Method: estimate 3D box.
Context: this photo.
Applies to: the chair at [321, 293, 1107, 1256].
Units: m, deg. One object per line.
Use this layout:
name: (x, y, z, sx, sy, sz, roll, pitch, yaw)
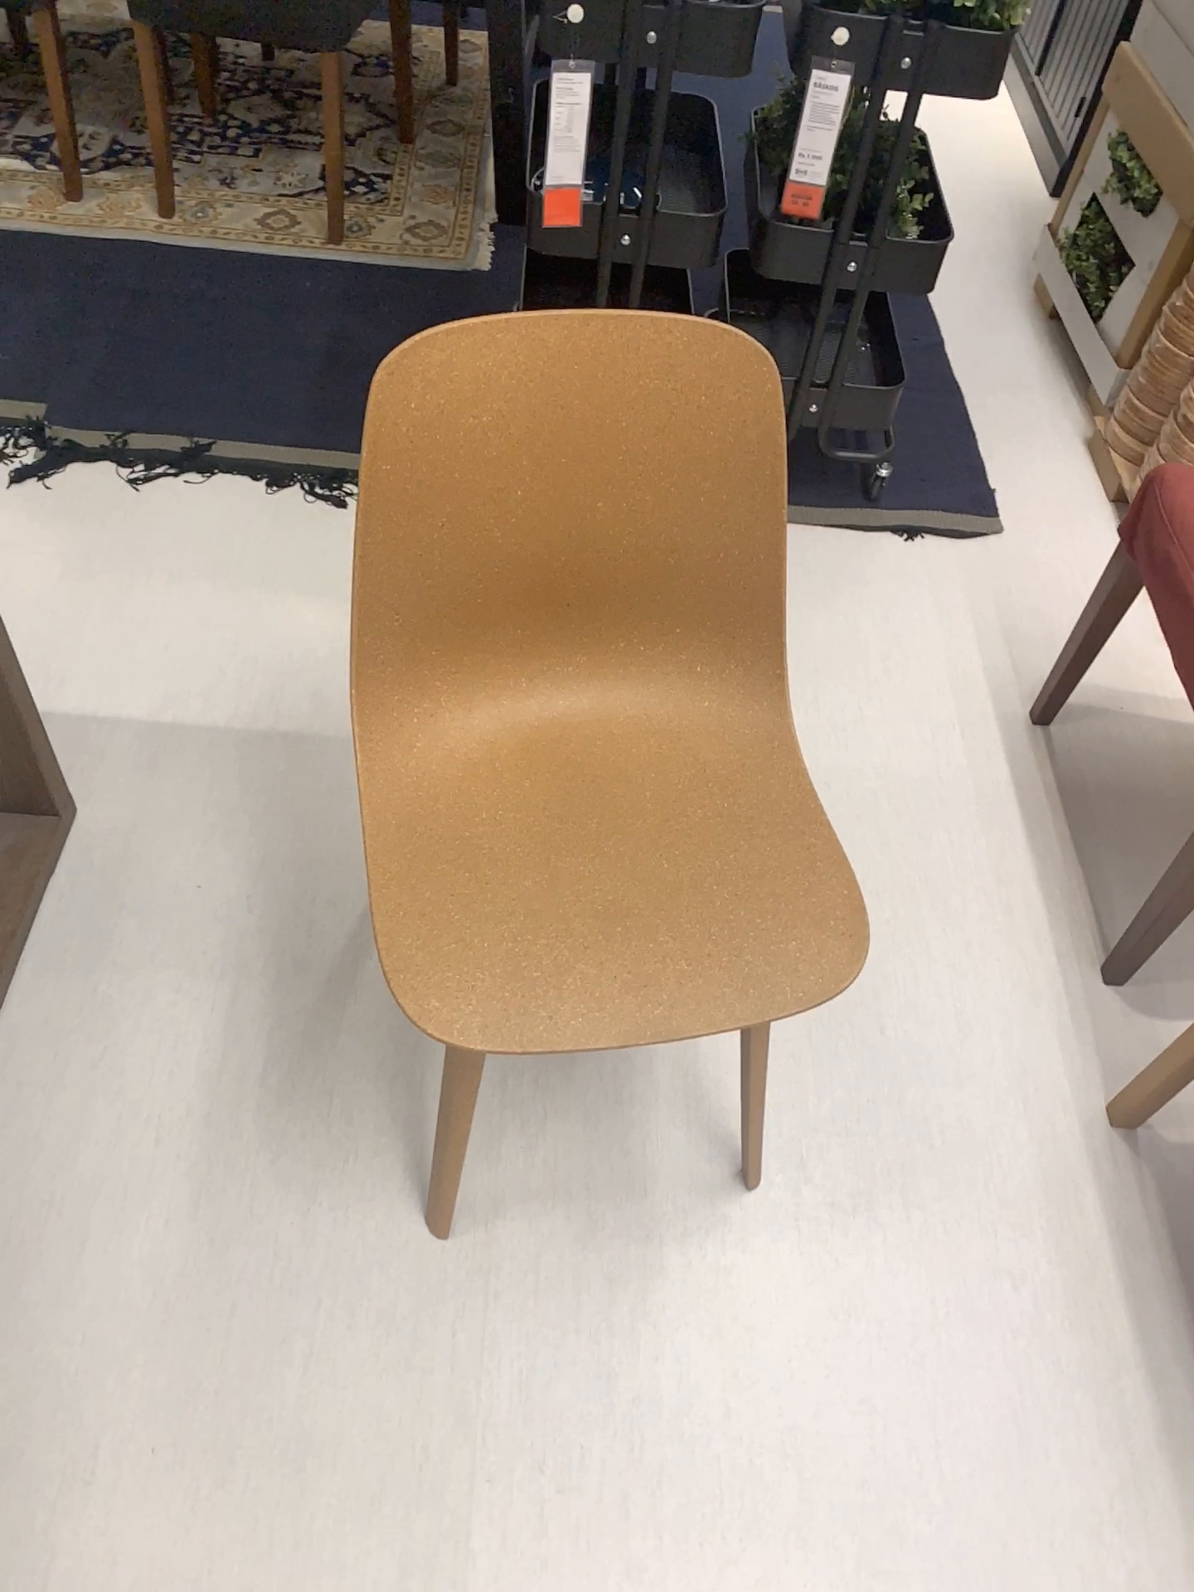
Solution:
chair: (0.012, 0.012, 1.129, 0.440, 0.718, 0.521, -5, 52, -11)
